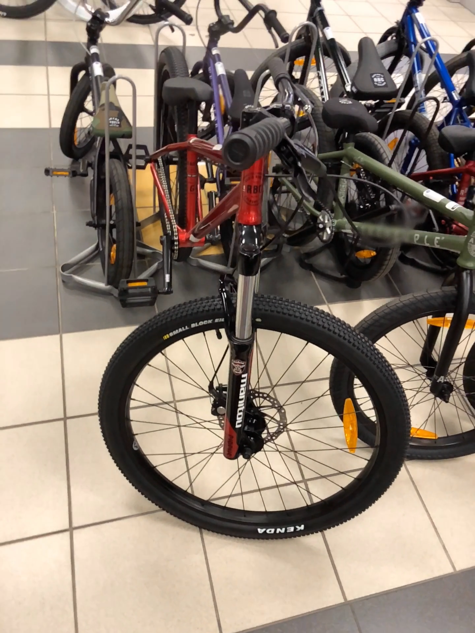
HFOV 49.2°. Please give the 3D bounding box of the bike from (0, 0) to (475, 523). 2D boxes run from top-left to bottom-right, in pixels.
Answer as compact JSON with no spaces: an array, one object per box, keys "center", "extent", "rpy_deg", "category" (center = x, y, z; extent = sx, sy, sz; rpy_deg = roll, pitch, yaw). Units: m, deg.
[{"center":[-0.050,-0.372,1.311],"extent":[0.712,0.998,1.341],"rpy_deg":[-12,50,-21],"category":"bike"}]
